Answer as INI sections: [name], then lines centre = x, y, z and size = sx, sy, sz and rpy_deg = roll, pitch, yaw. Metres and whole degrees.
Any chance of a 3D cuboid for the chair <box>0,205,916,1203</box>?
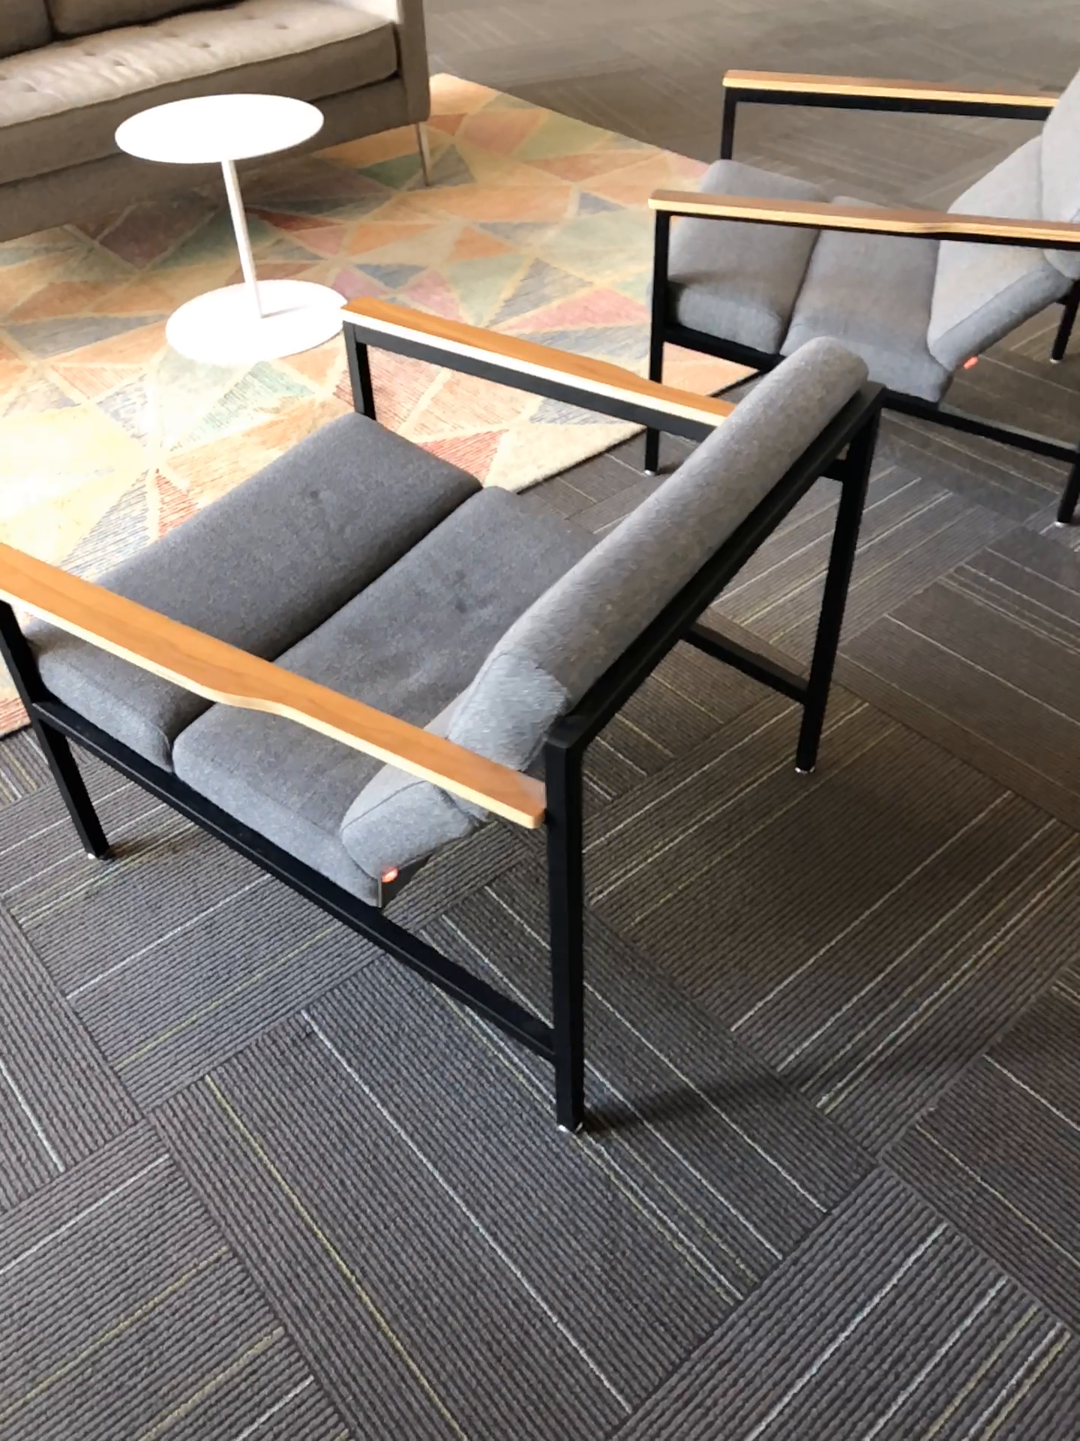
[chair]
centre = -0.157, -0.110, 1.513
size = 0.922, 0.697, 0.792
rpy_deg = 20, 47, 25
